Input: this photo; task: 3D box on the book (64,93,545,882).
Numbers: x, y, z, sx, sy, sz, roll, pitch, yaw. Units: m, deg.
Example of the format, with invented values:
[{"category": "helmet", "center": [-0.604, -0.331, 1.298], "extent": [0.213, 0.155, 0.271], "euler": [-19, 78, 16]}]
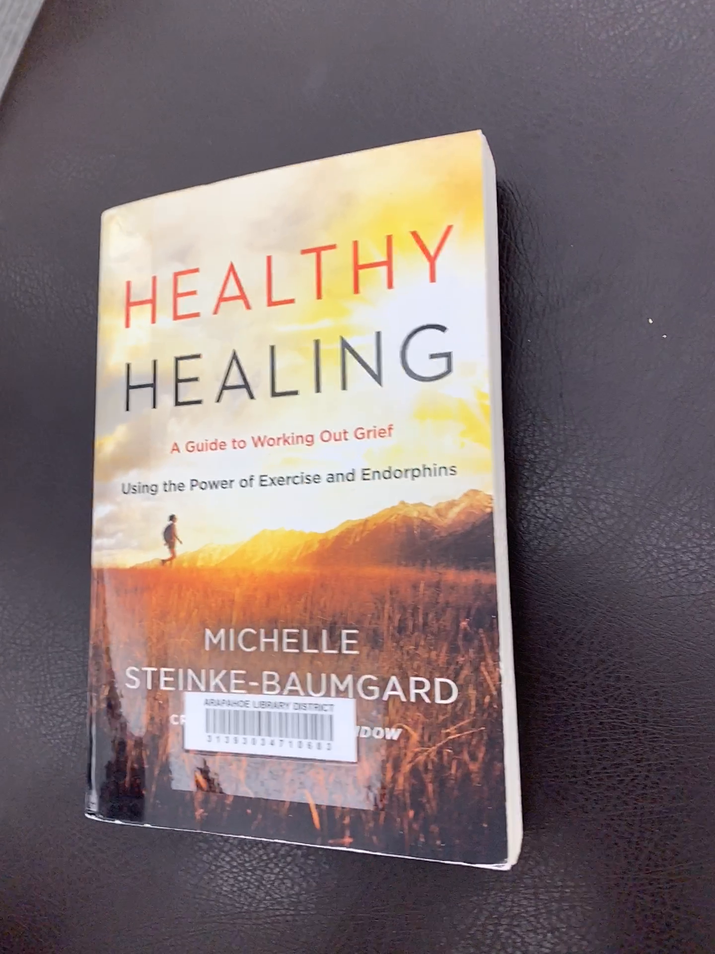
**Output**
[{"category": "book", "center": [-0.019, 0.000, 0.232], "extent": [0.140, 0.027, 0.212], "euler": [-3, 81, 18]}]
